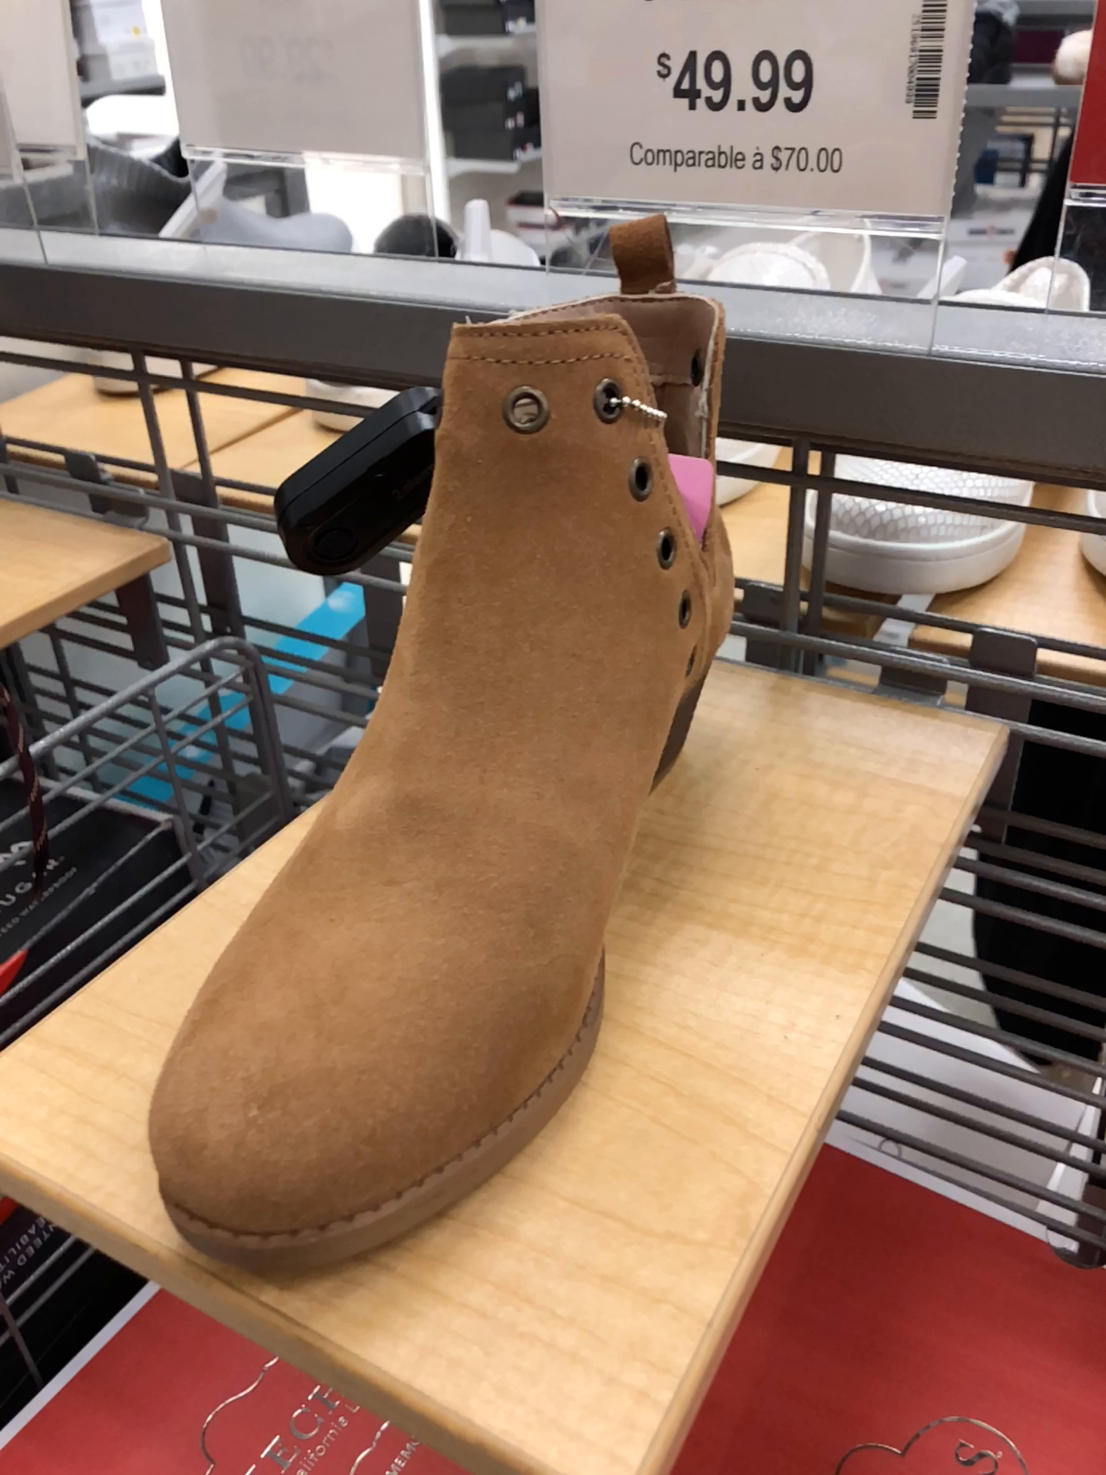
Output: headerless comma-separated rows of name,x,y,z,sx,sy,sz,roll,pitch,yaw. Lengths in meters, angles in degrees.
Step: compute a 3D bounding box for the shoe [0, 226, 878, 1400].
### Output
shoe,-0.009,-0.025,0.292,0.092,0.129,0.282,13,36,23
